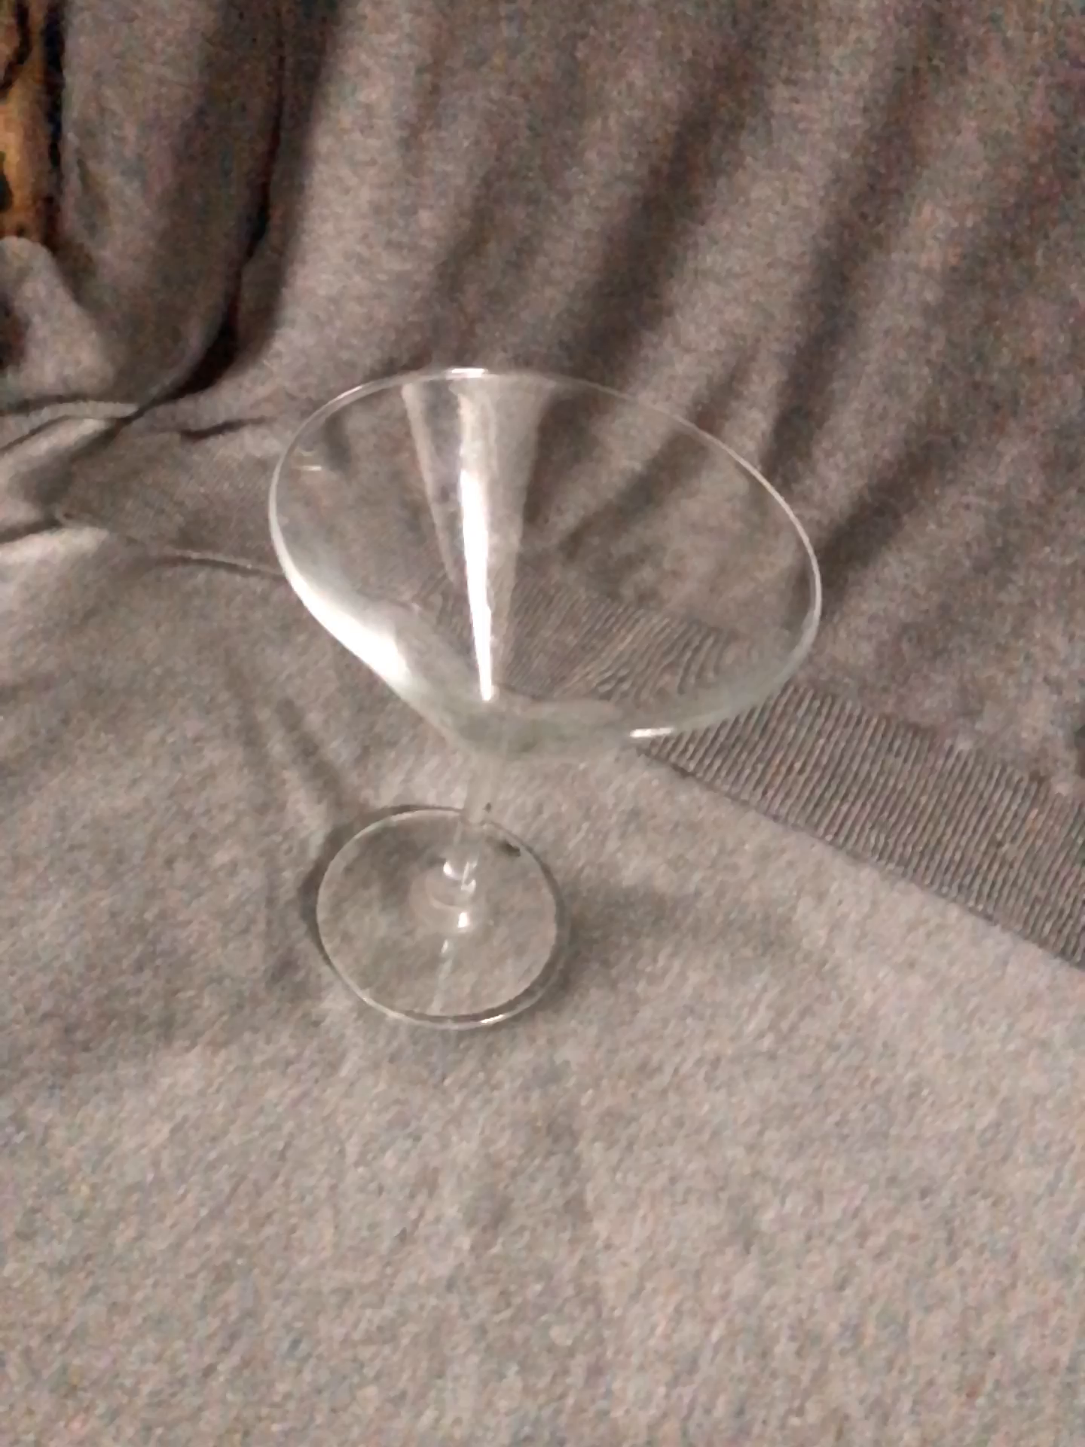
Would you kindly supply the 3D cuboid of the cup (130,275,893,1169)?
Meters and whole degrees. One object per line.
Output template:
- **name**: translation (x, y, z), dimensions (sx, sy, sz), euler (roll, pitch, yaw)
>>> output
- **cup**: translation (-0.016, 0.005, 0.298), dimensions (0.113, 0.157, 0.112), euler (8, 50, -10)
